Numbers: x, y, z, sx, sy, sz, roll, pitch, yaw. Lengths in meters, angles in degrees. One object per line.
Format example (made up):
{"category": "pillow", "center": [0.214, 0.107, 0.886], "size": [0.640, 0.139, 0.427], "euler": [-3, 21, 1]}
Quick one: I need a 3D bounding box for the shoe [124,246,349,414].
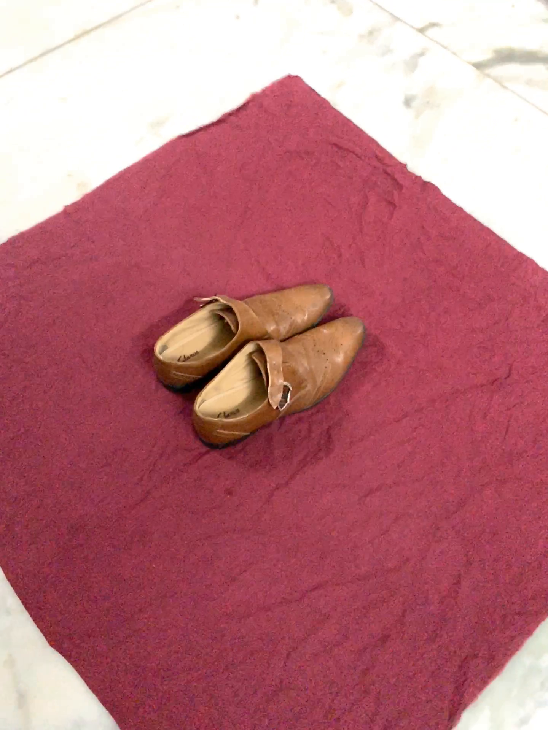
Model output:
{"category": "shoe", "center": [-0.050, -0.054, 0.839], "size": [0.310, 0.090, 0.100], "euler": [-27, 66, -12]}

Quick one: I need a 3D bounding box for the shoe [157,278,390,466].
{"category": "shoe", "center": [0.004, 0.007, 0.779], "size": [0.300, 0.090, 0.100], "euler": [-30, 66, -13]}
